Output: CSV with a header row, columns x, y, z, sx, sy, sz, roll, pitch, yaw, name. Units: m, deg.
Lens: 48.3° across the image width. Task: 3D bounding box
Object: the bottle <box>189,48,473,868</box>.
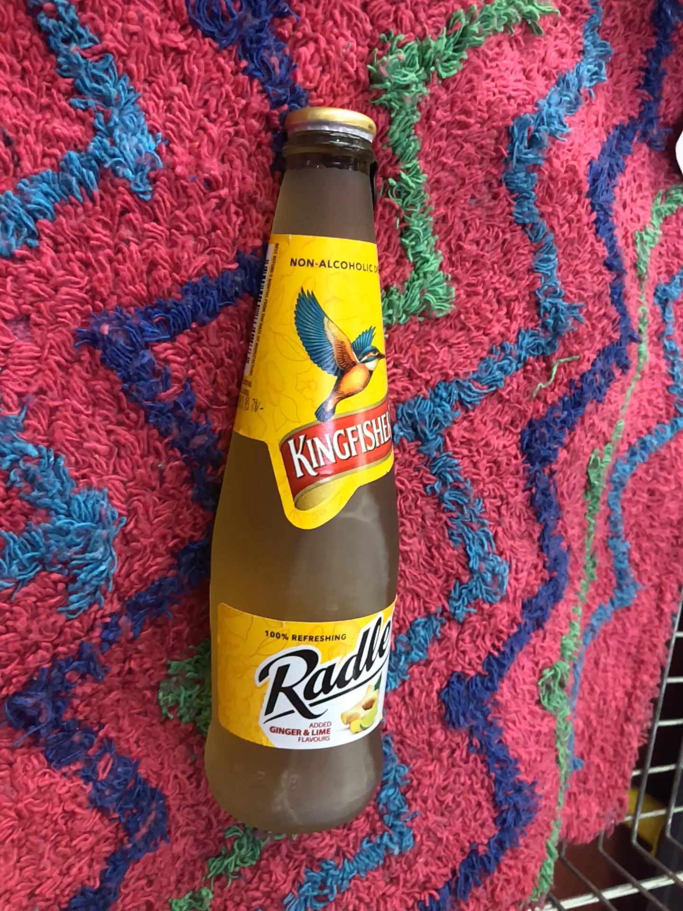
x,y,z,sx,sy,sz,roll,pitch,yaw,name
-0.009,0.003,0.233,0.060,0.060,0.210,-3,100,-27,bottle
